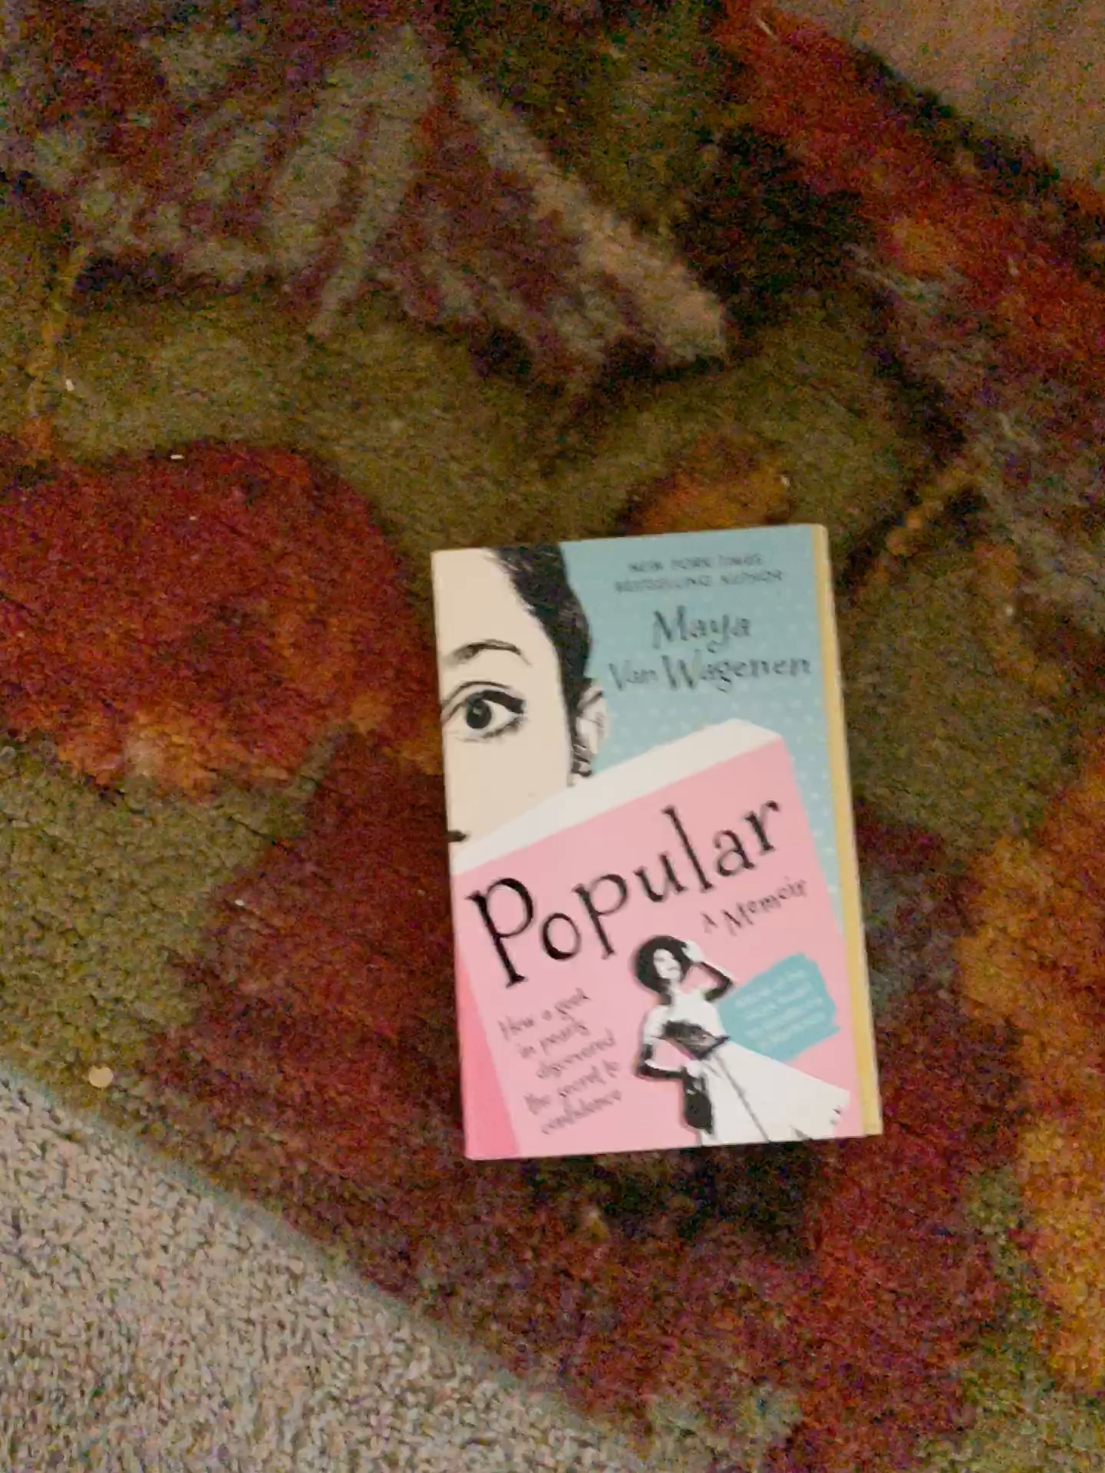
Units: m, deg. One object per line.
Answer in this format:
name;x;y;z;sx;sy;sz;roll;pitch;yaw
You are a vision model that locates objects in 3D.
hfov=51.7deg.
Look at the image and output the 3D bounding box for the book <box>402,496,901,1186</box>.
book;0.031;0.034;0.396;0.150;0.030;0.220;-4;85;1
